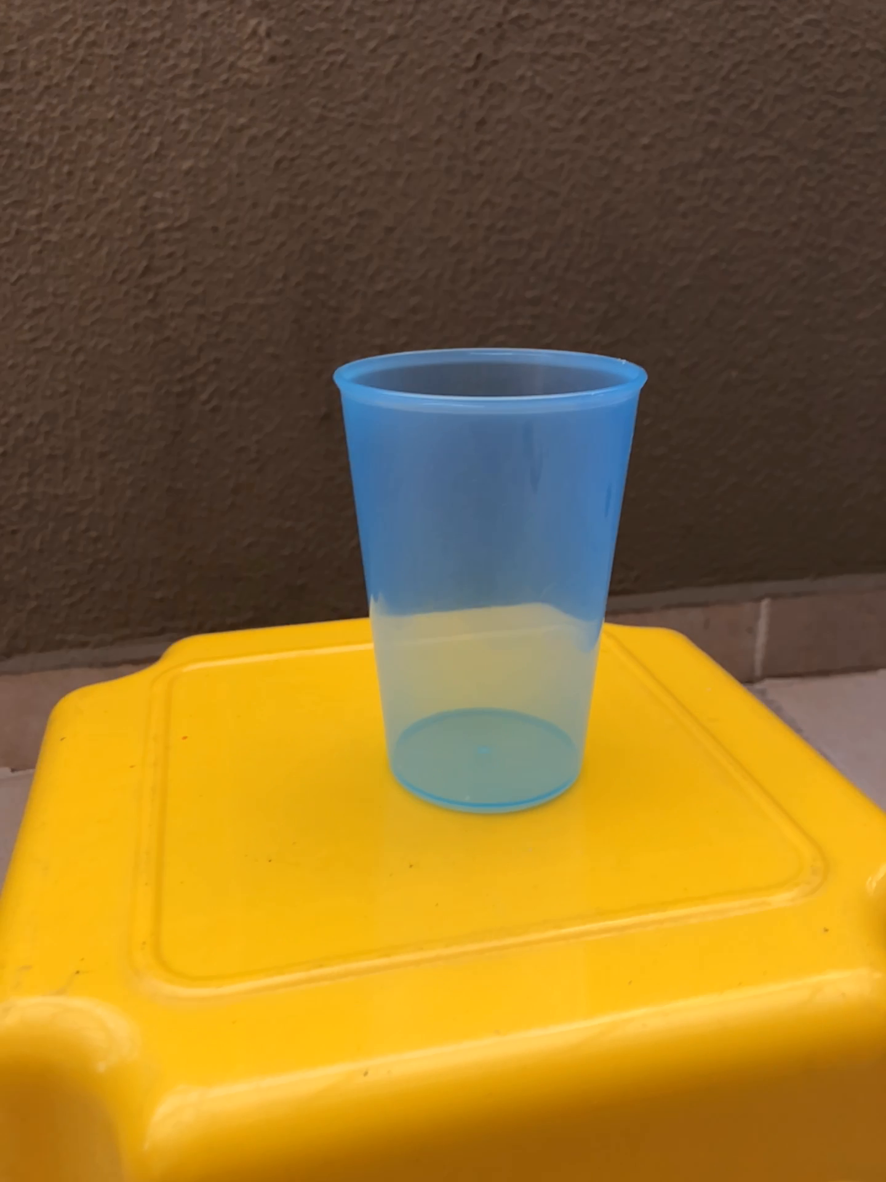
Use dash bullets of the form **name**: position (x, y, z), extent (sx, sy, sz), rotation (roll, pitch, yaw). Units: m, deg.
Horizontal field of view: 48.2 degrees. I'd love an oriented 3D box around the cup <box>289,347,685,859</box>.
- **cup**: position (0.006, -0.004, 0.252), extent (0.070, 0.099, 0.080), rotation (-8, 21, -17)
